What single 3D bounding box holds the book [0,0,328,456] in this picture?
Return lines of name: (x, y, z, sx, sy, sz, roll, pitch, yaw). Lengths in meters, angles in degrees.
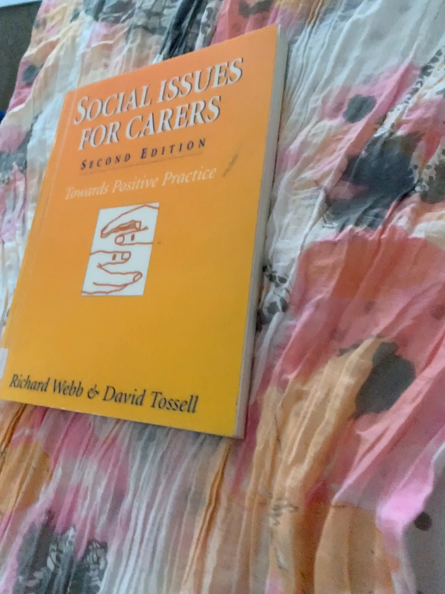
book: (-0.044, -0.054, 0.304, 0.201, 0.040, 0.271, -1, 74, 31)
